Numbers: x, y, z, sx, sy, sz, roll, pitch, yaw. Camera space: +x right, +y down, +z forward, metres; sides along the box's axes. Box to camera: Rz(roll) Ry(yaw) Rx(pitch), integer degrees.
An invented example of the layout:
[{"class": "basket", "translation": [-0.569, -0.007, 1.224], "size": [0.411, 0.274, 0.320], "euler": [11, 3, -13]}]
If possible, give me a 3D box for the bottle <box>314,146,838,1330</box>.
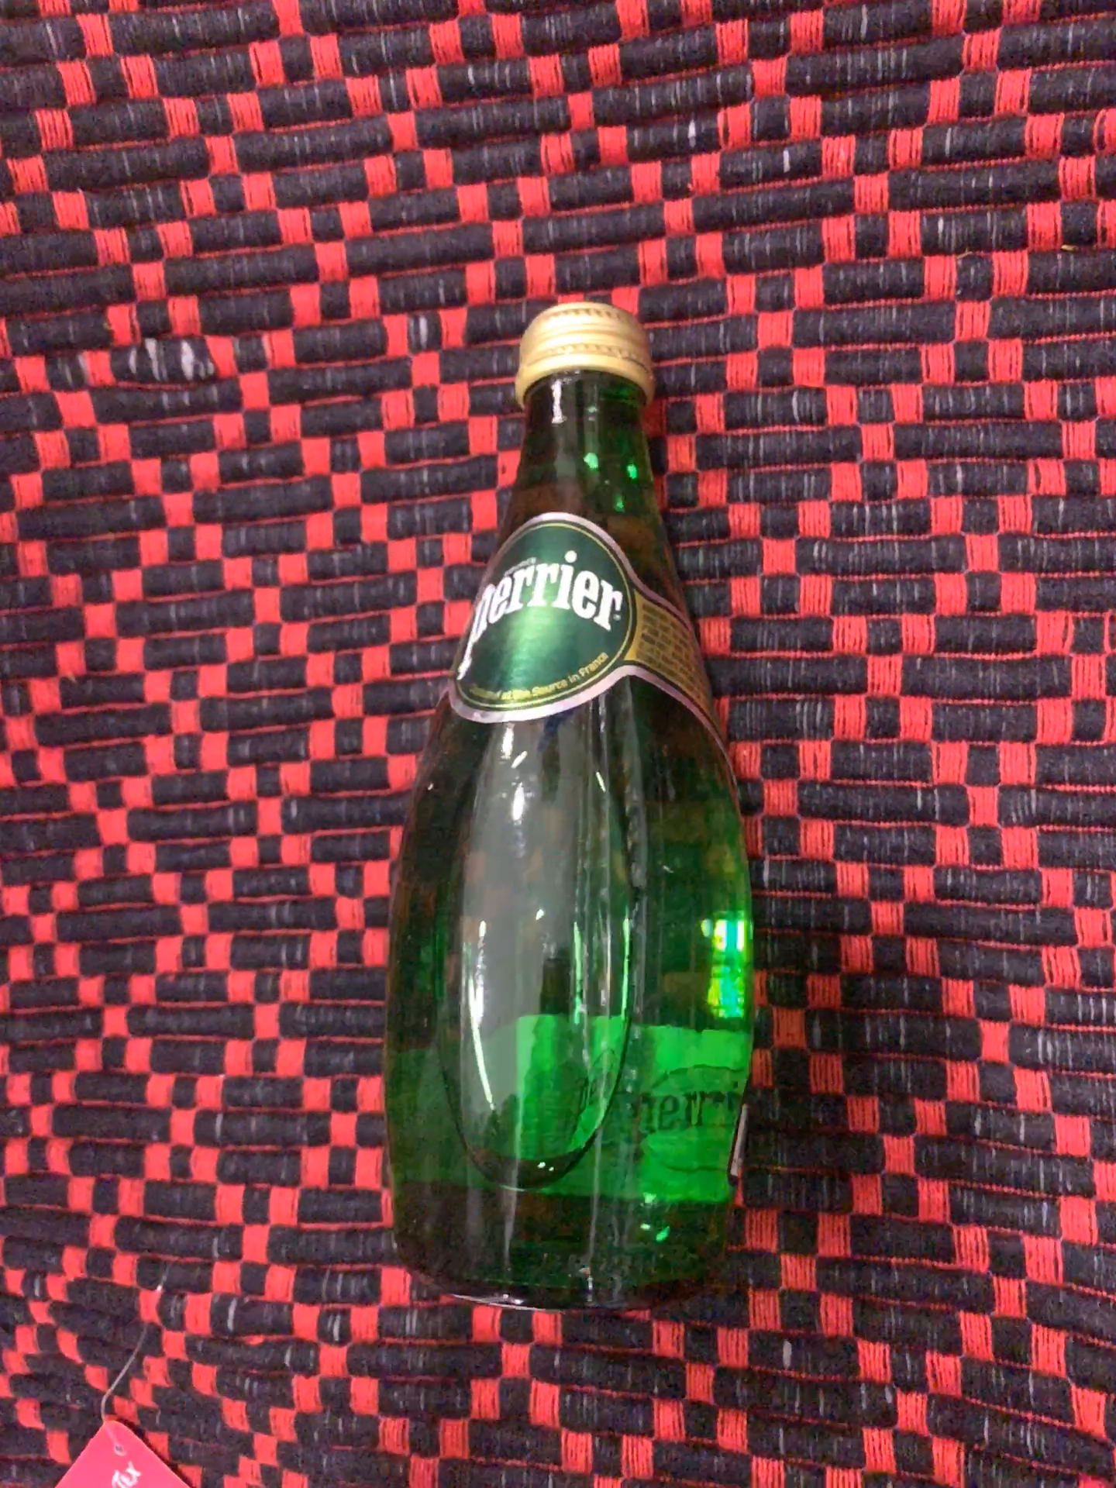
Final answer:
[{"class": "bottle", "translation": [0.010, -0.001, 0.220], "size": [0.070, 0.070, 0.180], "euler": [-3, 79, 25]}]
